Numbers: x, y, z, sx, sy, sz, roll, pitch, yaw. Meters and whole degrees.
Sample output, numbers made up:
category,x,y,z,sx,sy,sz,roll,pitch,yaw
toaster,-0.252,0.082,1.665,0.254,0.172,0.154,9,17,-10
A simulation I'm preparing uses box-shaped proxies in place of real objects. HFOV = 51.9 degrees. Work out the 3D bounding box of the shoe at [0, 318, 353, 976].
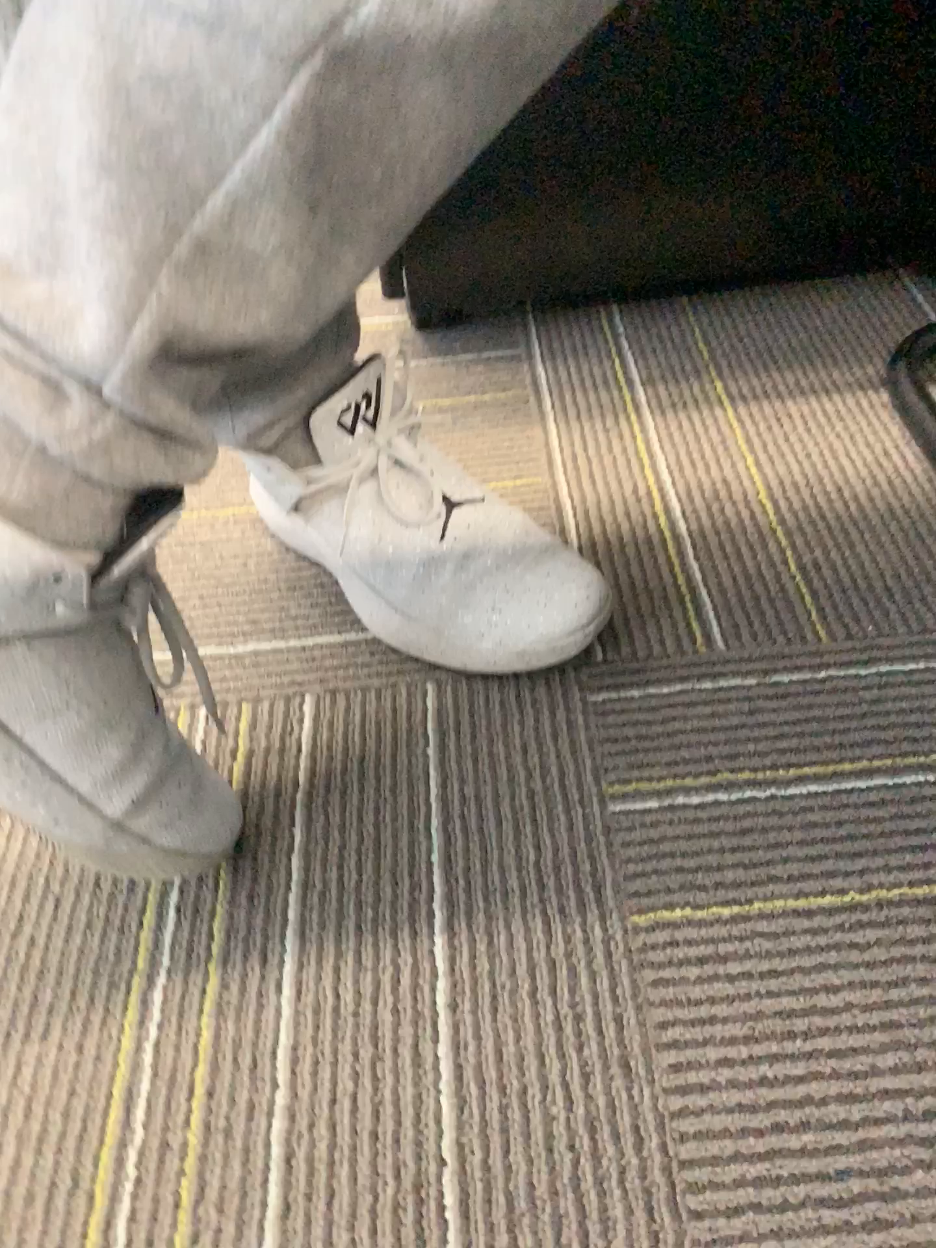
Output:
category,x,y,z,sx,sy,sz,roll,pitch,yaw
shoe,-0.196,0.023,0.444,0.120,0.279,0.121,-38,37,1

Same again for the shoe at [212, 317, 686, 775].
category,x,y,z,sx,sy,sz,roll,pitch,yaw
shoe,-0.017,-0.062,0.639,0.281,0.149,0.130,35,60,30
